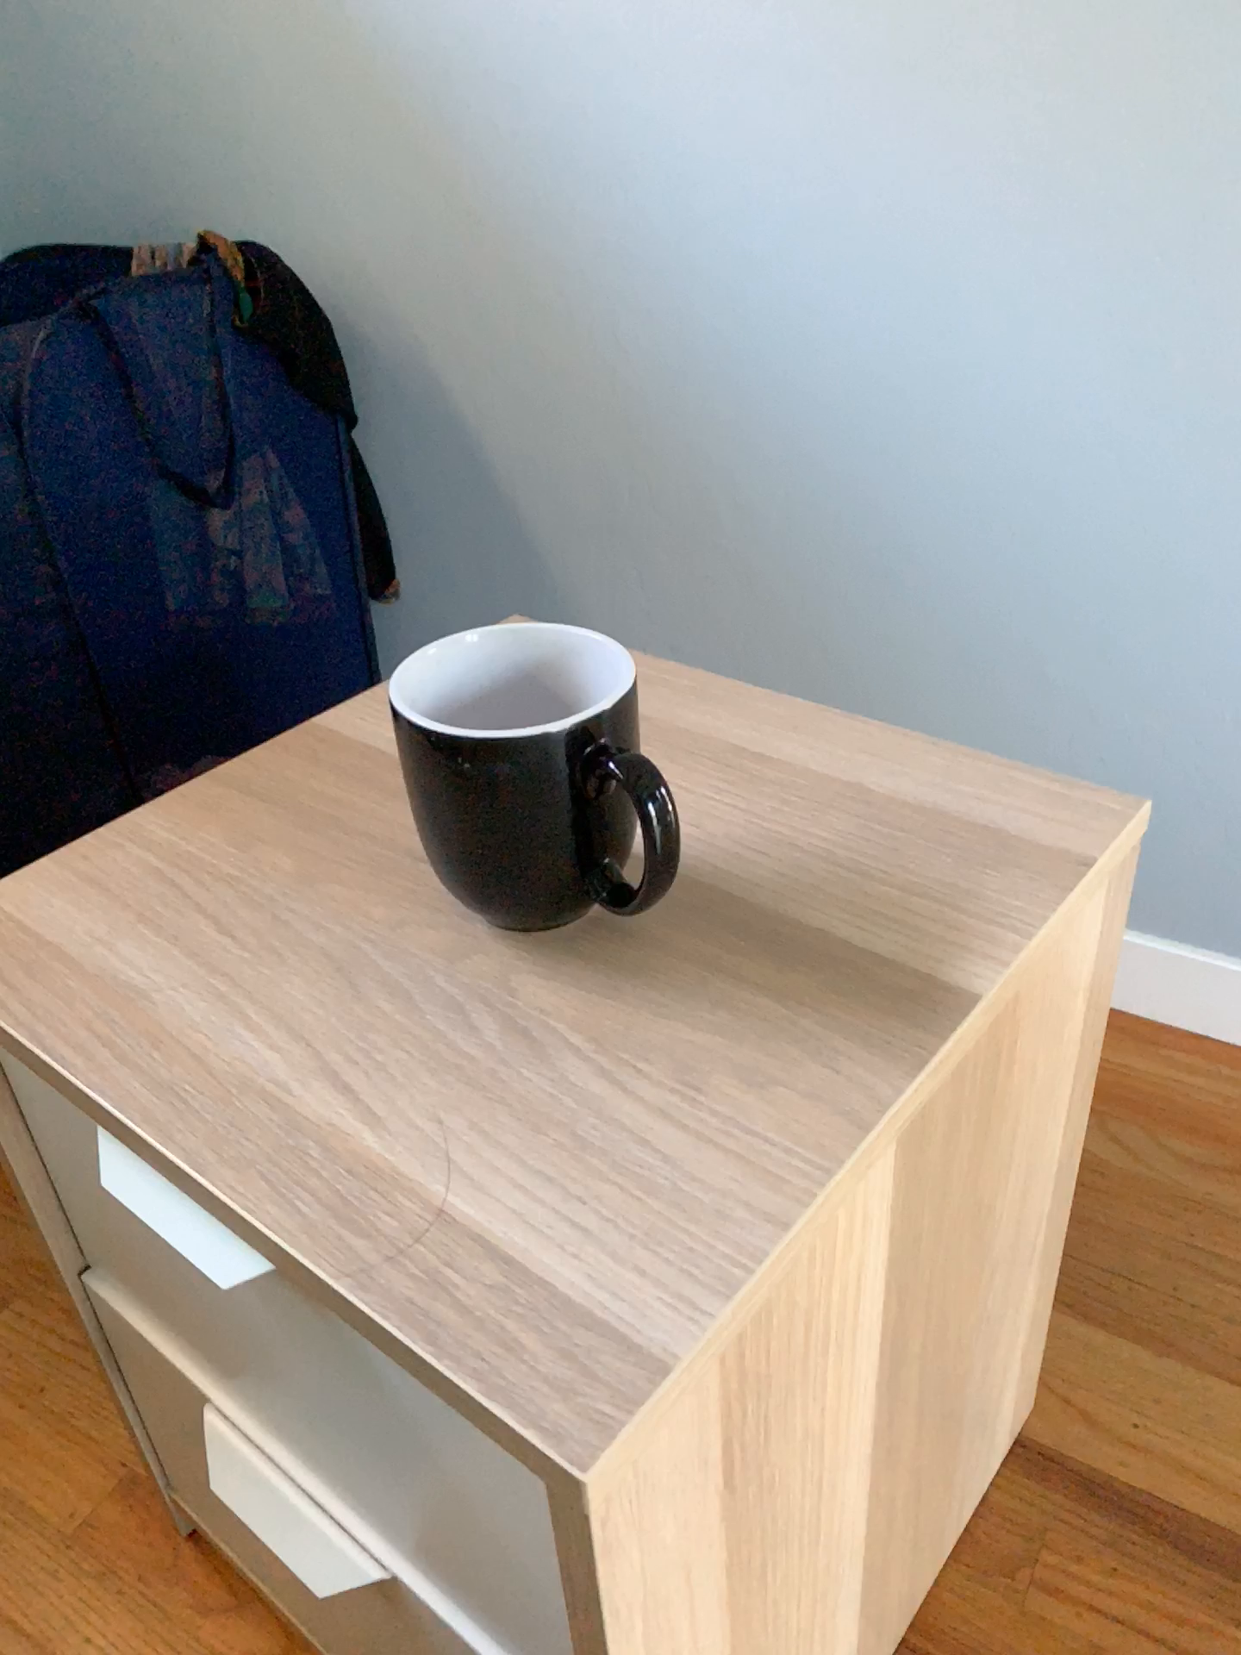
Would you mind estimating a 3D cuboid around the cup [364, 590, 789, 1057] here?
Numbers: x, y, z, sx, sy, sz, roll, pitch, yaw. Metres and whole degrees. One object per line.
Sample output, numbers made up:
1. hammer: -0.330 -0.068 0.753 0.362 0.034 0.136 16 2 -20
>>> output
1. cup: -0.017 -0.009 0.528 0.100 0.119 0.141 -27 39 -31
